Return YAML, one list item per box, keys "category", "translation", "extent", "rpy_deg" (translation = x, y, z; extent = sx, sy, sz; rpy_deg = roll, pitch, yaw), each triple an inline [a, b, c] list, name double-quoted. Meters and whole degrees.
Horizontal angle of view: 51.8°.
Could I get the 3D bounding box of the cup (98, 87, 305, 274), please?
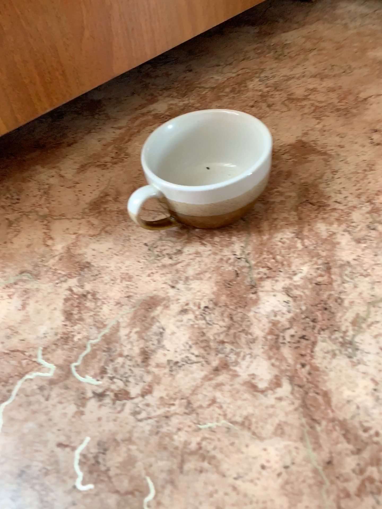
- category: "cup"
  translation: [0.008, -0.061, 0.298]
  extent: [0.115, 0.060, 0.091]
  rpy_deg: [-31, 54, -17]
